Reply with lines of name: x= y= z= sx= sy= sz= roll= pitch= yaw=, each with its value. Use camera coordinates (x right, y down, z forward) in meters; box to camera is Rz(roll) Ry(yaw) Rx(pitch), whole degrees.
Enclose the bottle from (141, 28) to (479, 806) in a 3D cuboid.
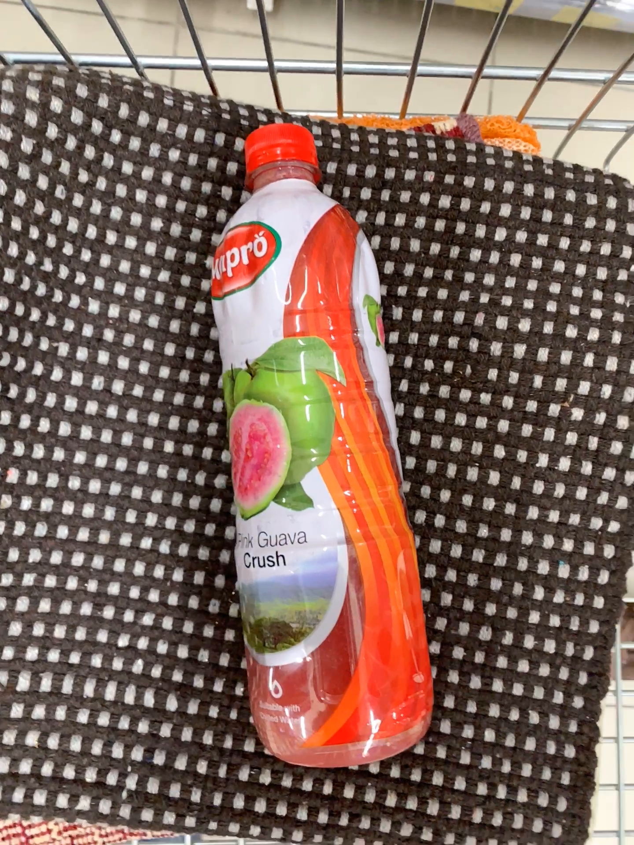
bottle: x=-0.007 y=-0.004 z=0.247 sx=0.070 sy=0.070 sz=0.240 roll=2 pitch=77 yaw=-48
